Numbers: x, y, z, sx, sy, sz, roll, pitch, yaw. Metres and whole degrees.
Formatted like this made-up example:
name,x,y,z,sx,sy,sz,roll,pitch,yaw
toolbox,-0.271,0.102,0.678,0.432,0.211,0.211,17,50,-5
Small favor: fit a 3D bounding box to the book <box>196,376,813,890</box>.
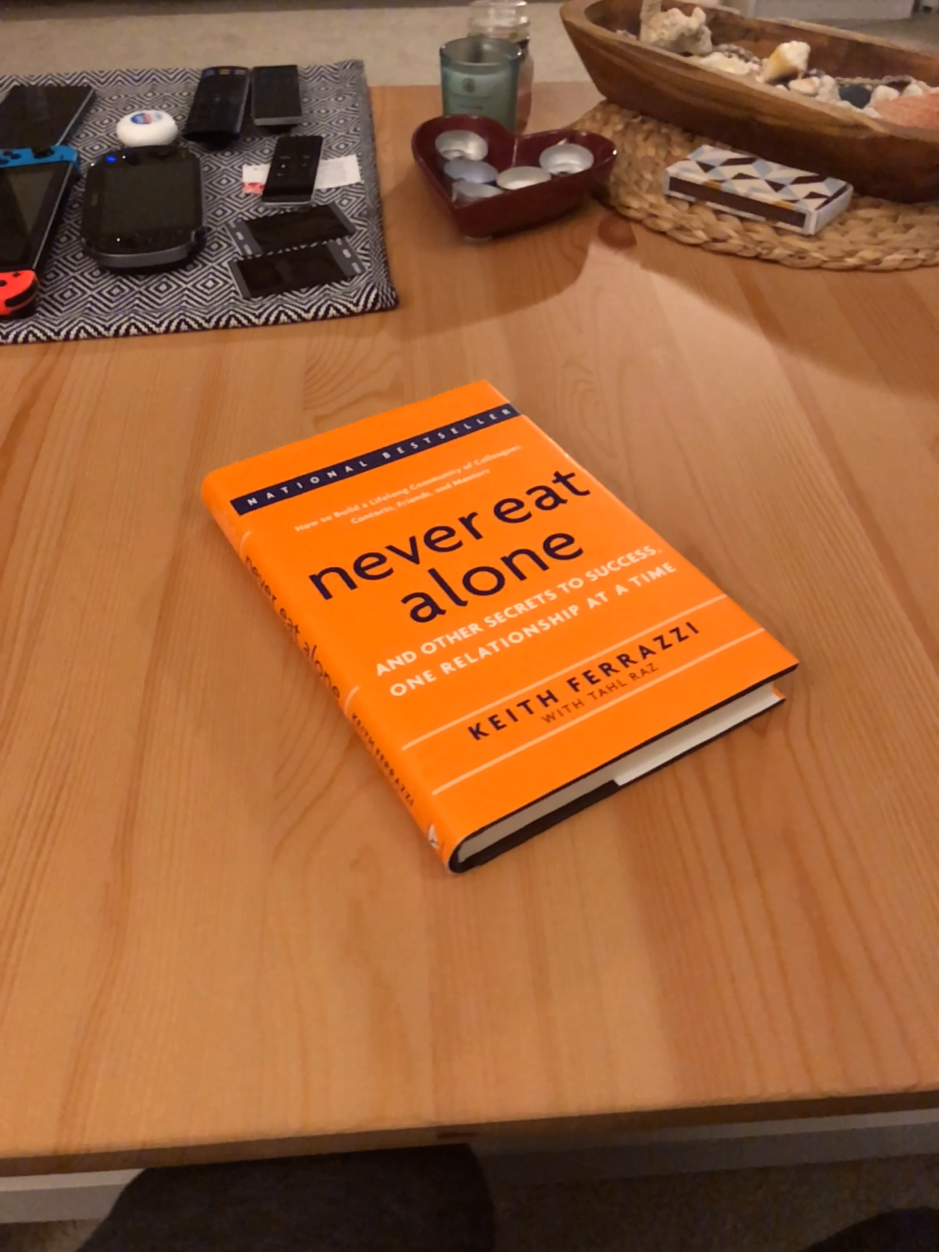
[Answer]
name,x,y,z,sx,sy,sz,roll,pitch,yaw
book,0.003,-0.020,0.461,0.167,0.025,0.241,-23,50,-21
